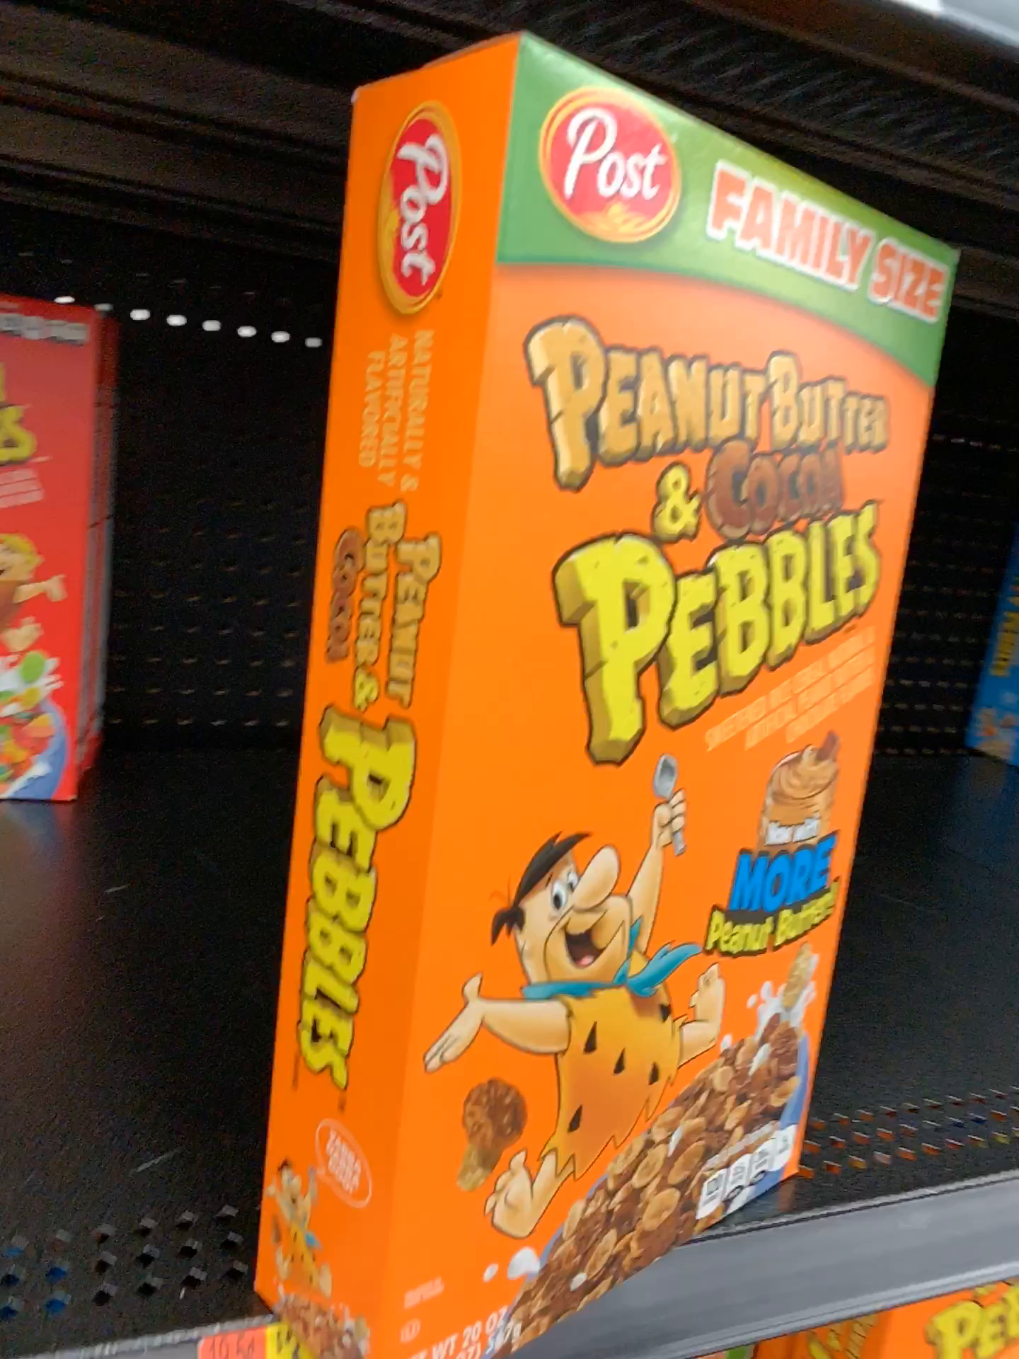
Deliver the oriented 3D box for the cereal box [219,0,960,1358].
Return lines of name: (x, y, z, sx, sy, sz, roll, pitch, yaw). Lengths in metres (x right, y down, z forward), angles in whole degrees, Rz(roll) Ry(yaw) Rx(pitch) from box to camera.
cereal box: (0.029, 0.020, 0.316, 0.200, 0.339, 0.060, -4, 15, -42)
